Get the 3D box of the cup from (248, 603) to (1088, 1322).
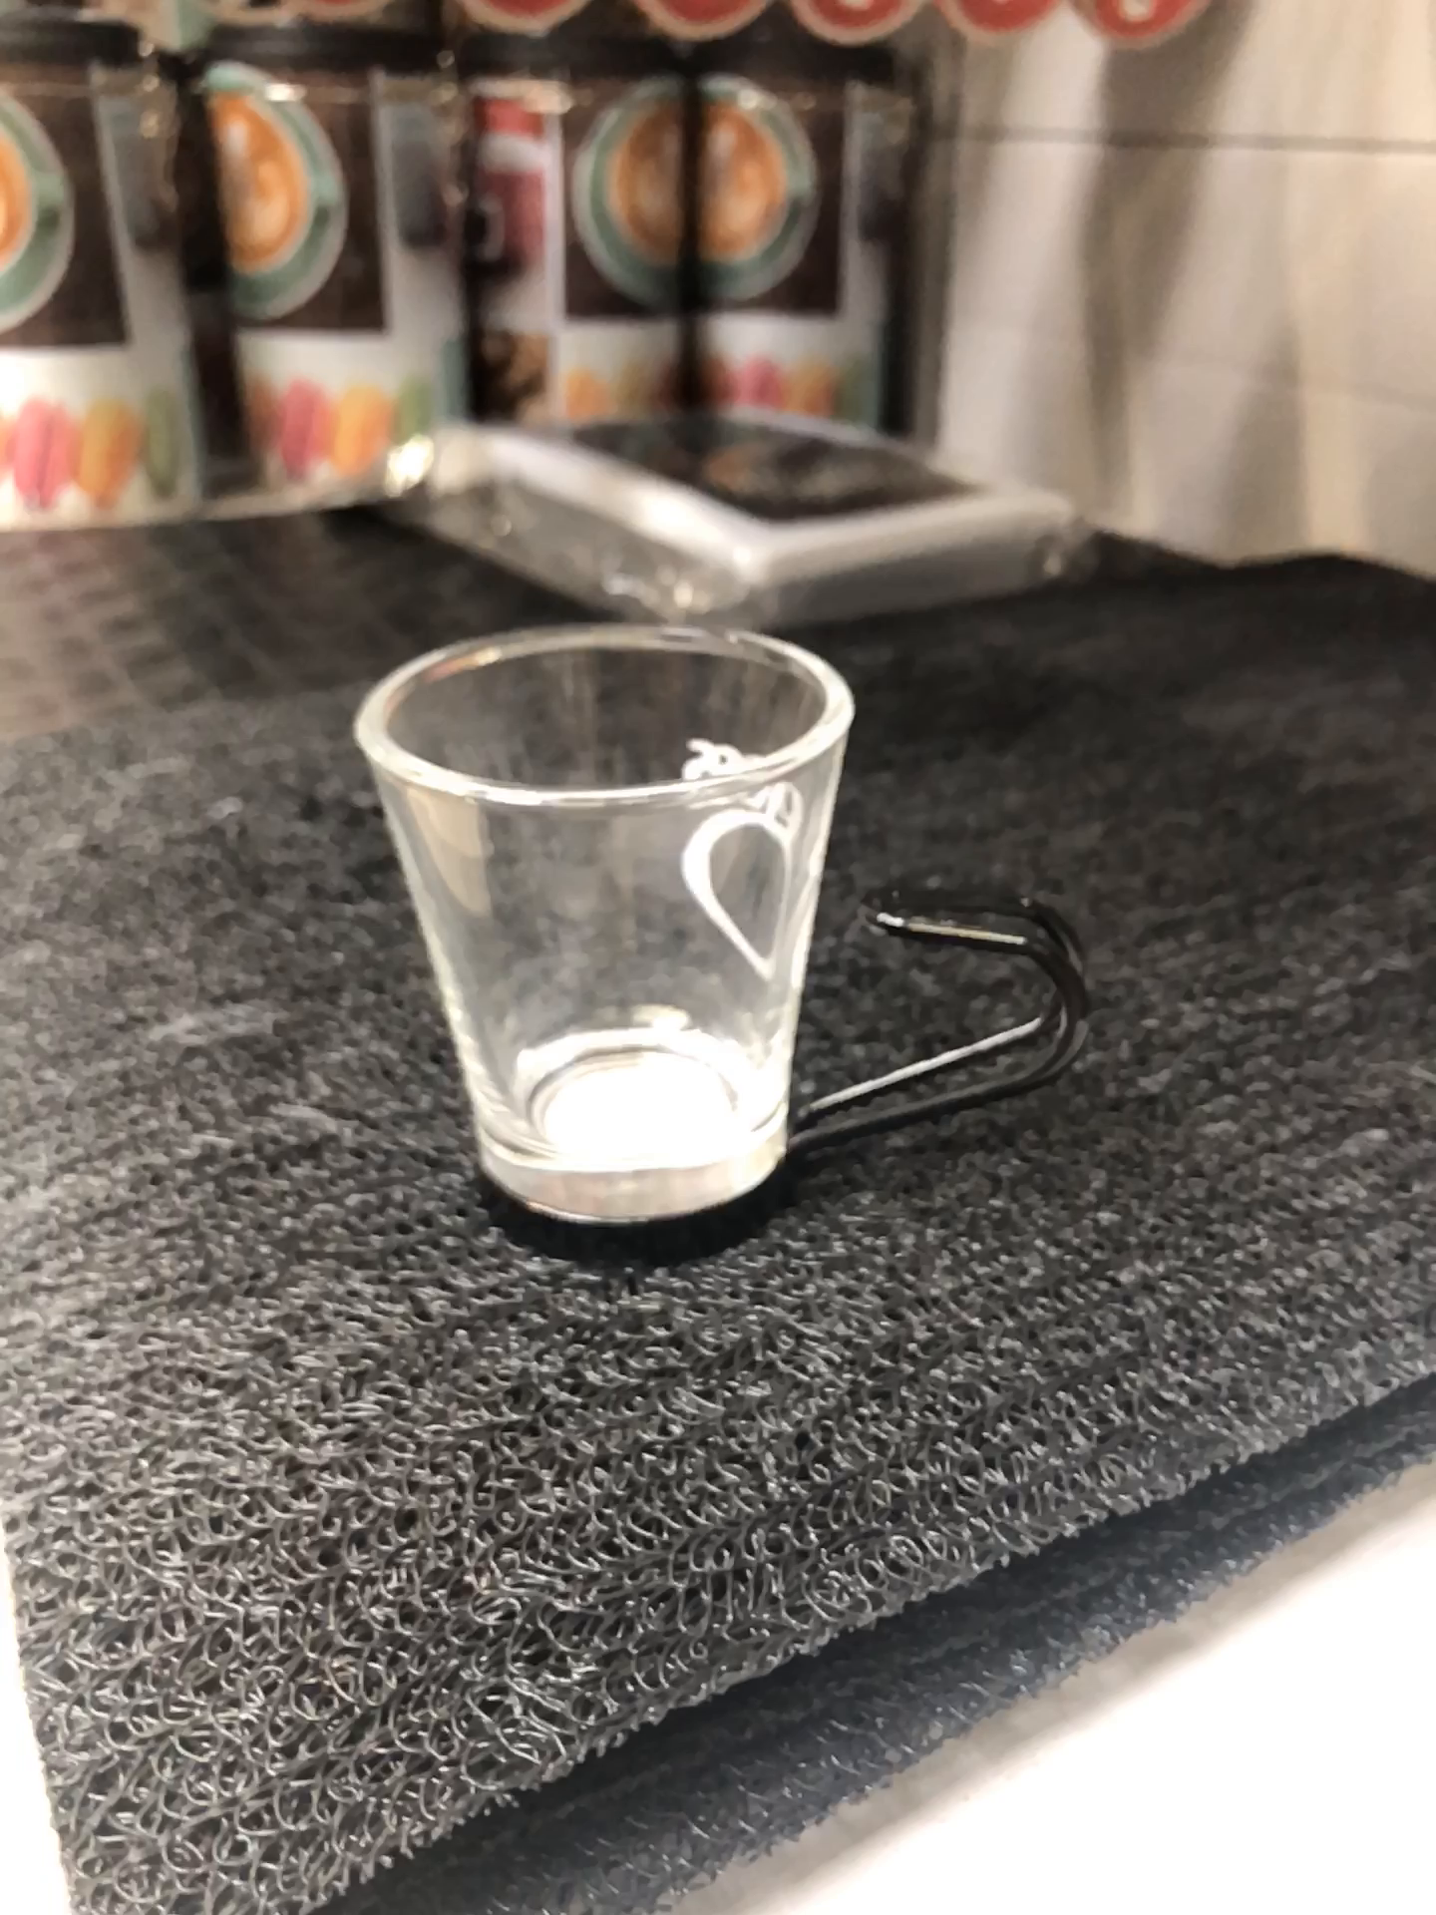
[{"bbox_3d":[0.000,-0.006,0.211,0.087,0.059,0.073,6,26,12],"label":"cup"}]
